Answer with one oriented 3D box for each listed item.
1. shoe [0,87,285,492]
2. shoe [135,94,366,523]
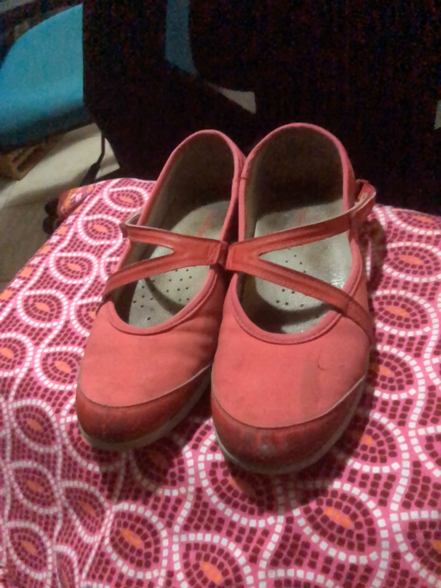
[{"bbox_3d":[-0.031,-0.024,0.365,0.110,0.099,0.291,1,52,18],"label":"shoe"},{"bbox_3d":[0.048,-0.013,0.358,0.110,0.099,0.301,0,52,17],"label":"shoe"}]
